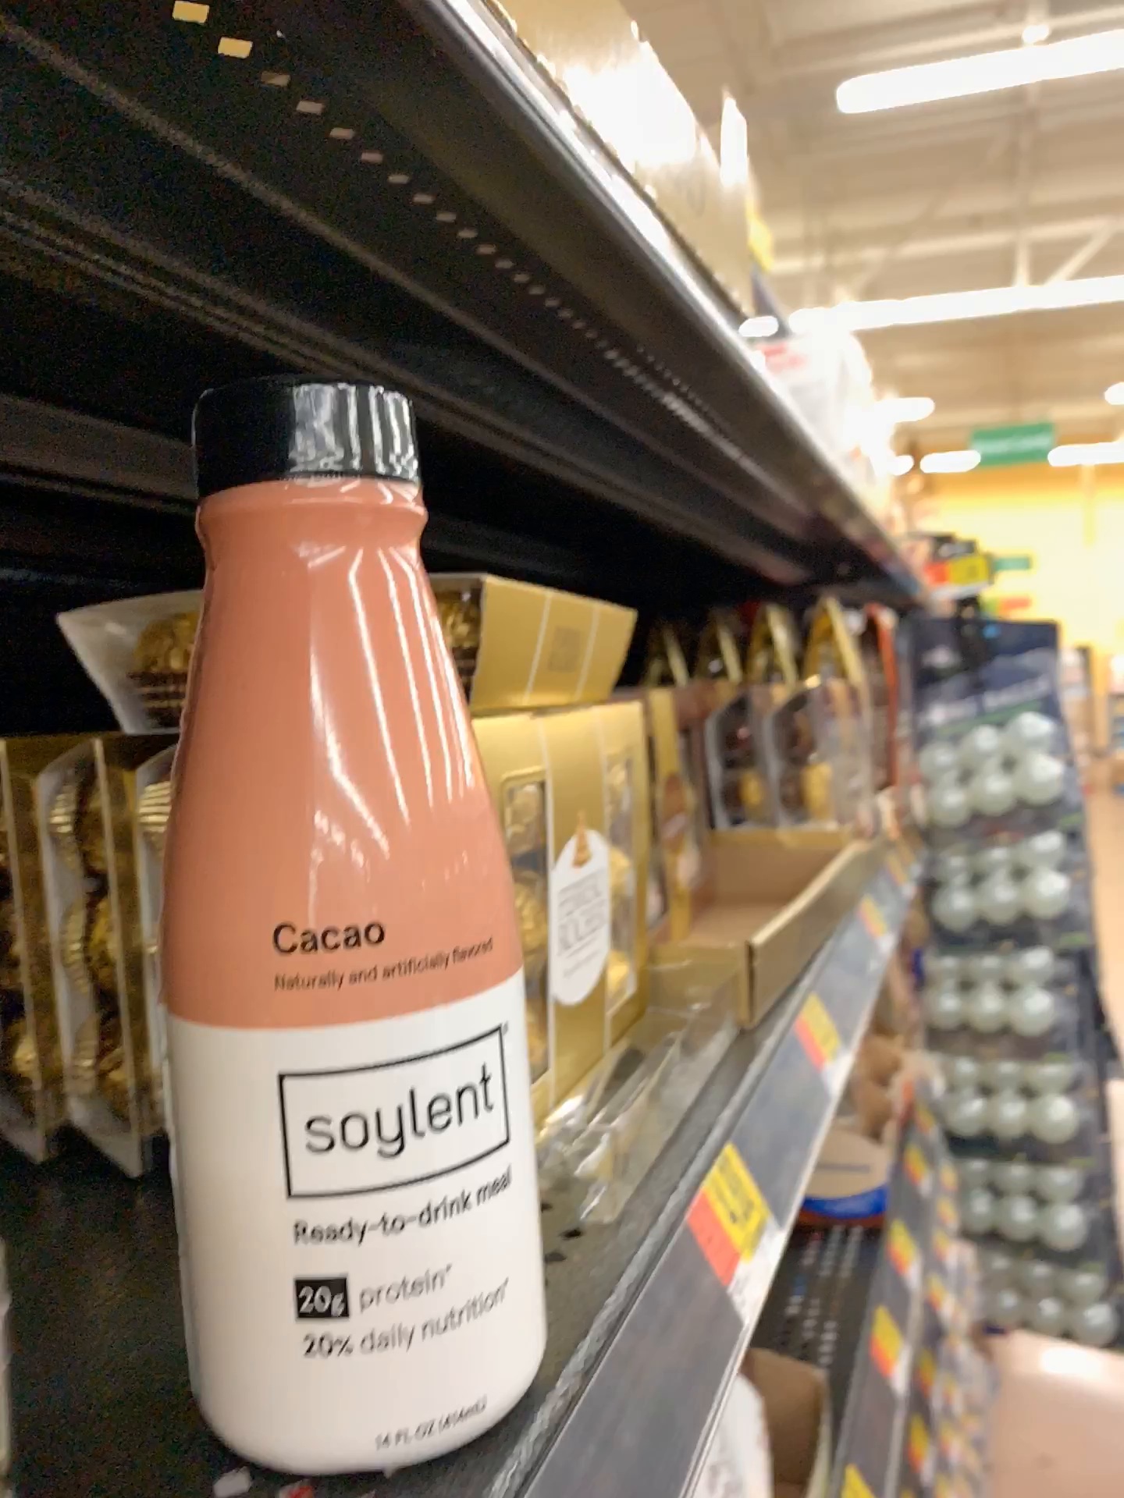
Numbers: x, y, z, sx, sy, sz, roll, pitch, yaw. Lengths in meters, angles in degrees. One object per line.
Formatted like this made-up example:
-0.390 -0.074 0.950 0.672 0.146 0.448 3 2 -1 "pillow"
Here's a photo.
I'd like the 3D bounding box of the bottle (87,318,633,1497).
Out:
-0.041 0.030 0.219 0.080 0.190 0.070 -3 3 -22 "bottle"
